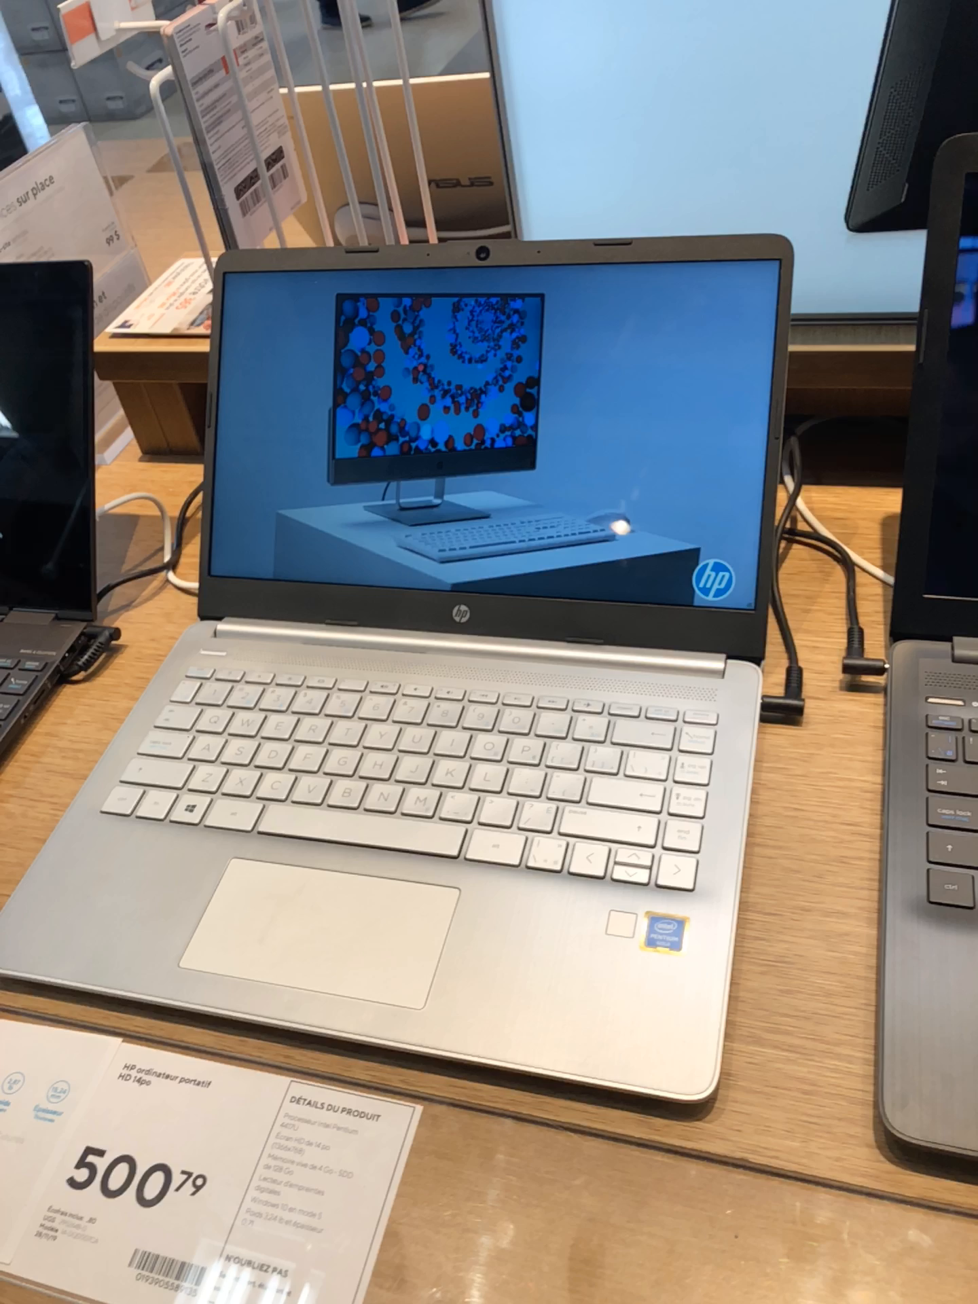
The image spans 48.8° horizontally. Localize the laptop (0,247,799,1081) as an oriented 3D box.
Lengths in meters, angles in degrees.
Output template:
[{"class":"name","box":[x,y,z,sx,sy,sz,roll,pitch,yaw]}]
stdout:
[{"class":"laptop","box":[-0.030,-0.028,0.508,0.308,0.167,0.347,3,43,19]}]
